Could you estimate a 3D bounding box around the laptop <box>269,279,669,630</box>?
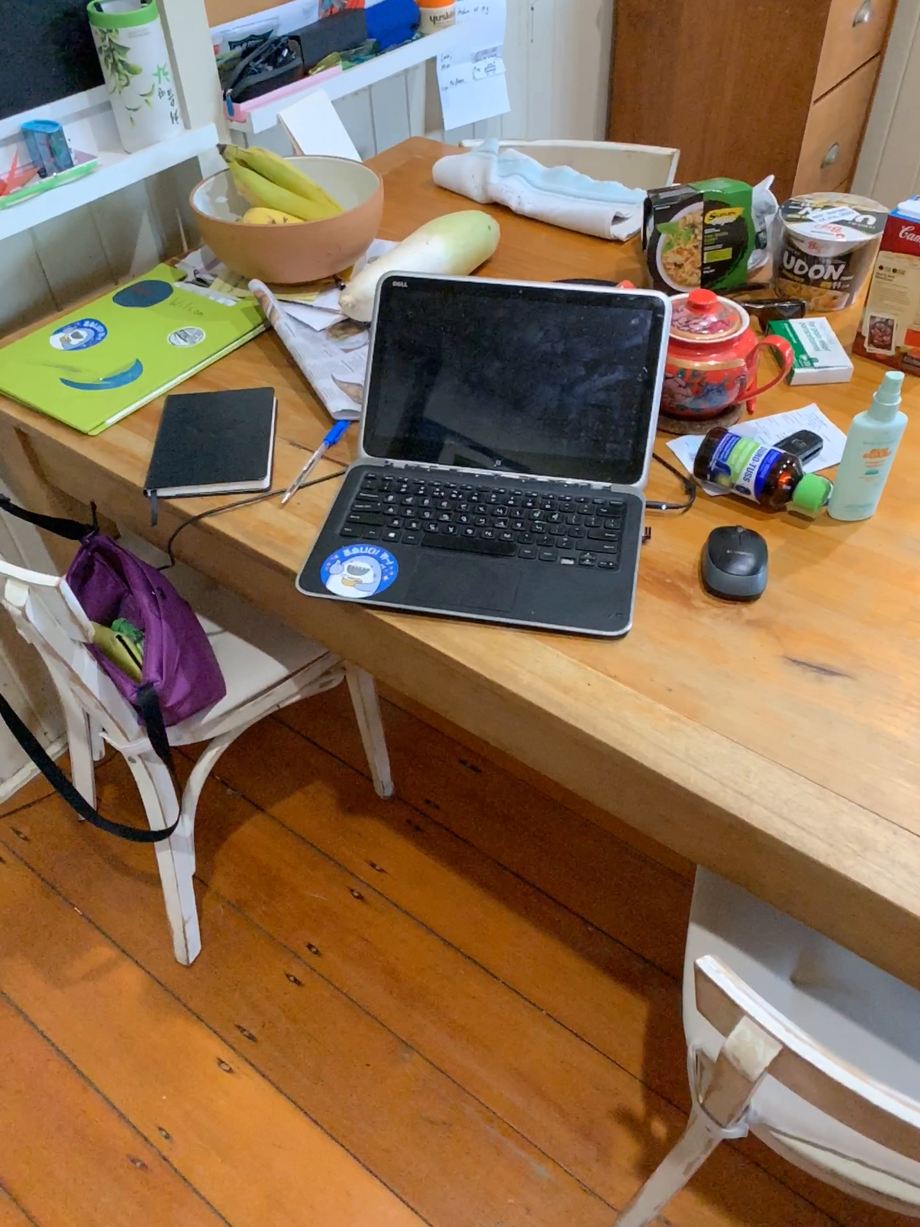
[{"bbox_3d":[0.030,-0.171,0.914,0.303,0.139,0.341,7,47,9],"label":"laptop"}]
